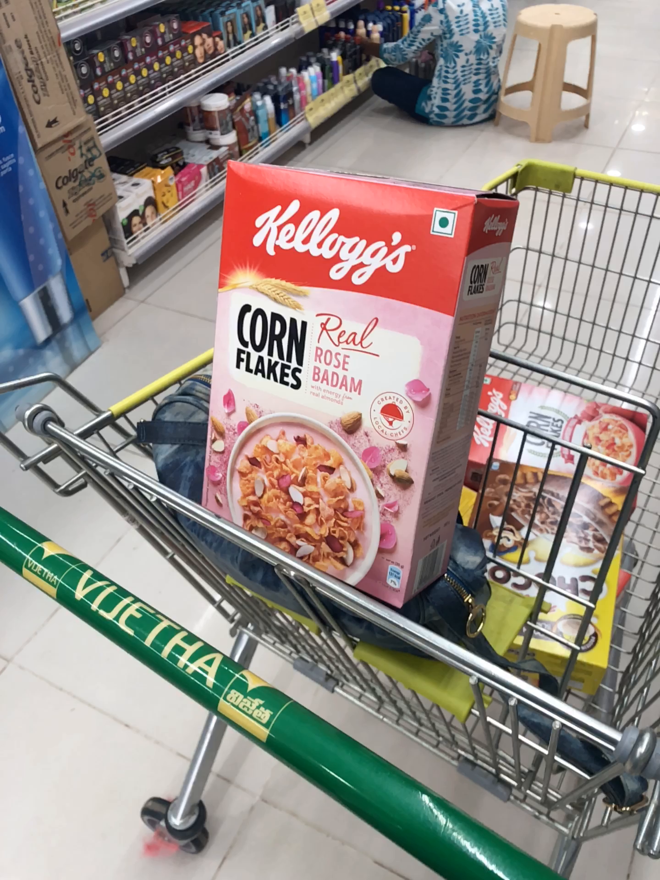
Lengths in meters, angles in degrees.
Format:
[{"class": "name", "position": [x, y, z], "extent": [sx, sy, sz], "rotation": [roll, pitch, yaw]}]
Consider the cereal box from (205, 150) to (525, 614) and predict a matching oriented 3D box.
[{"class": "cereal box", "position": [0.008, -0.046, 0.518], "extent": [0.190, 0.279, 0.070], "rotation": [20, 28, 29]}]
